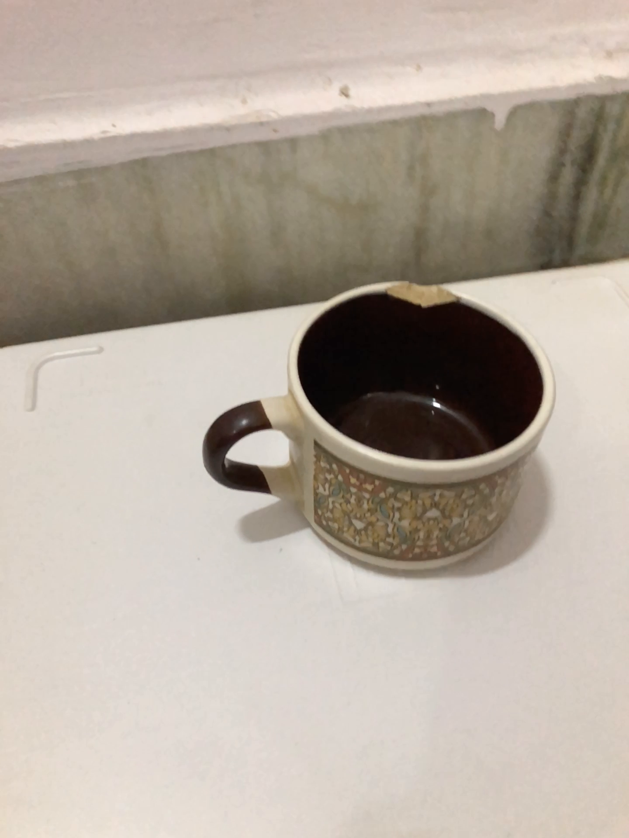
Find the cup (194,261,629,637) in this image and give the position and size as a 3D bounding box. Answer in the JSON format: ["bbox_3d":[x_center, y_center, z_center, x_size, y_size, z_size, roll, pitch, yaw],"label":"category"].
[{"bbox_3d":[0.021,0.006,0.213,0.100,0.060,0.080,-9,48,-9],"label":"cup"}]
